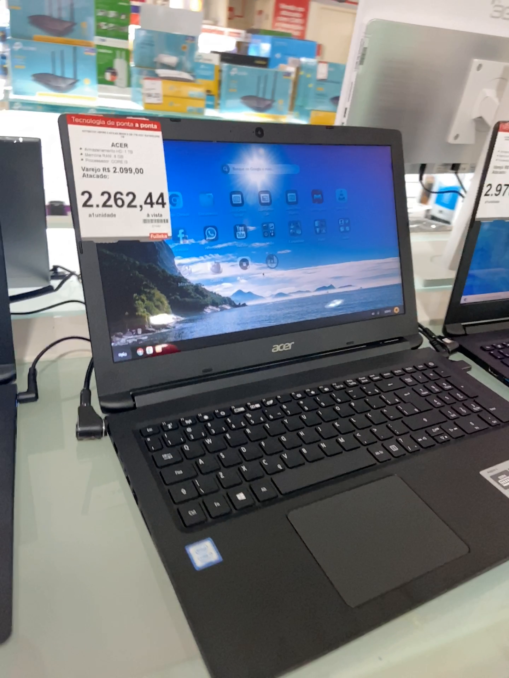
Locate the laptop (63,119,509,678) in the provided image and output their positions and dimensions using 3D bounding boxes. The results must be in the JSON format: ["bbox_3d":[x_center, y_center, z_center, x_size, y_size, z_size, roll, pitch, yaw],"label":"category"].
[{"bbox_3d":[0.081,-0.031,0.448,0.390,0.226,0.376,-9,32,-27],"label":"laptop"}]
